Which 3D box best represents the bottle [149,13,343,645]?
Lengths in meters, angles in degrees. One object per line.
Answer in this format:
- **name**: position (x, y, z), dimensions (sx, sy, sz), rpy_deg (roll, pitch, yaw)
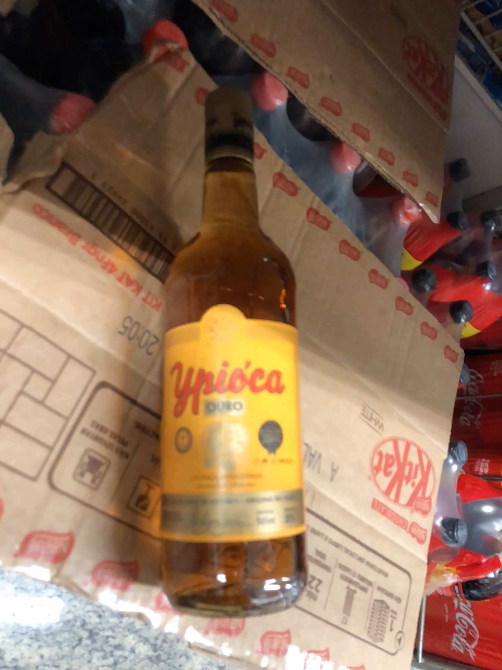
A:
- **bottle**: position (0.002, -0.011, 0.312), dimensions (0.090, 0.080, 0.310), rpy_deg (47, 42, -72)
